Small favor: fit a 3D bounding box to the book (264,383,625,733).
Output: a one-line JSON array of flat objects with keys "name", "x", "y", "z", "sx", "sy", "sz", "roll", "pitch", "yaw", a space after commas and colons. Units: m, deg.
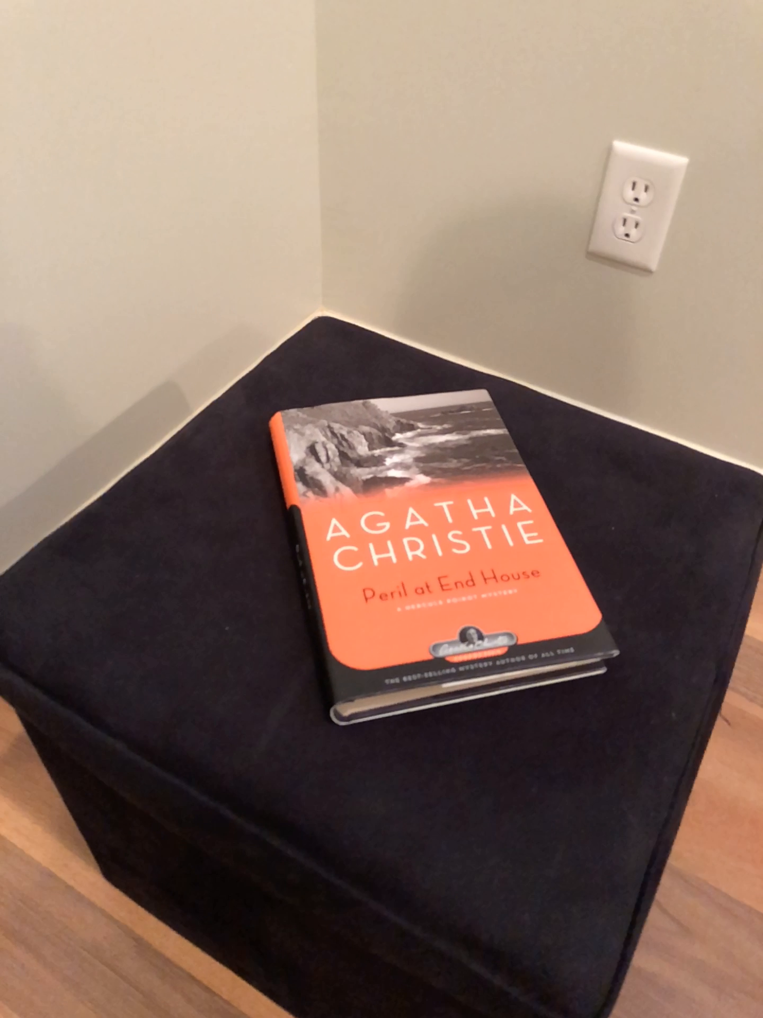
[{"name": "book", "x": 0.022, "y": 0.012, "z": 0.471, "sx": 0.146, "sy": 0.030, "sz": 0.207, "roll": -8, "pitch": 47, "yaw": -11}]
